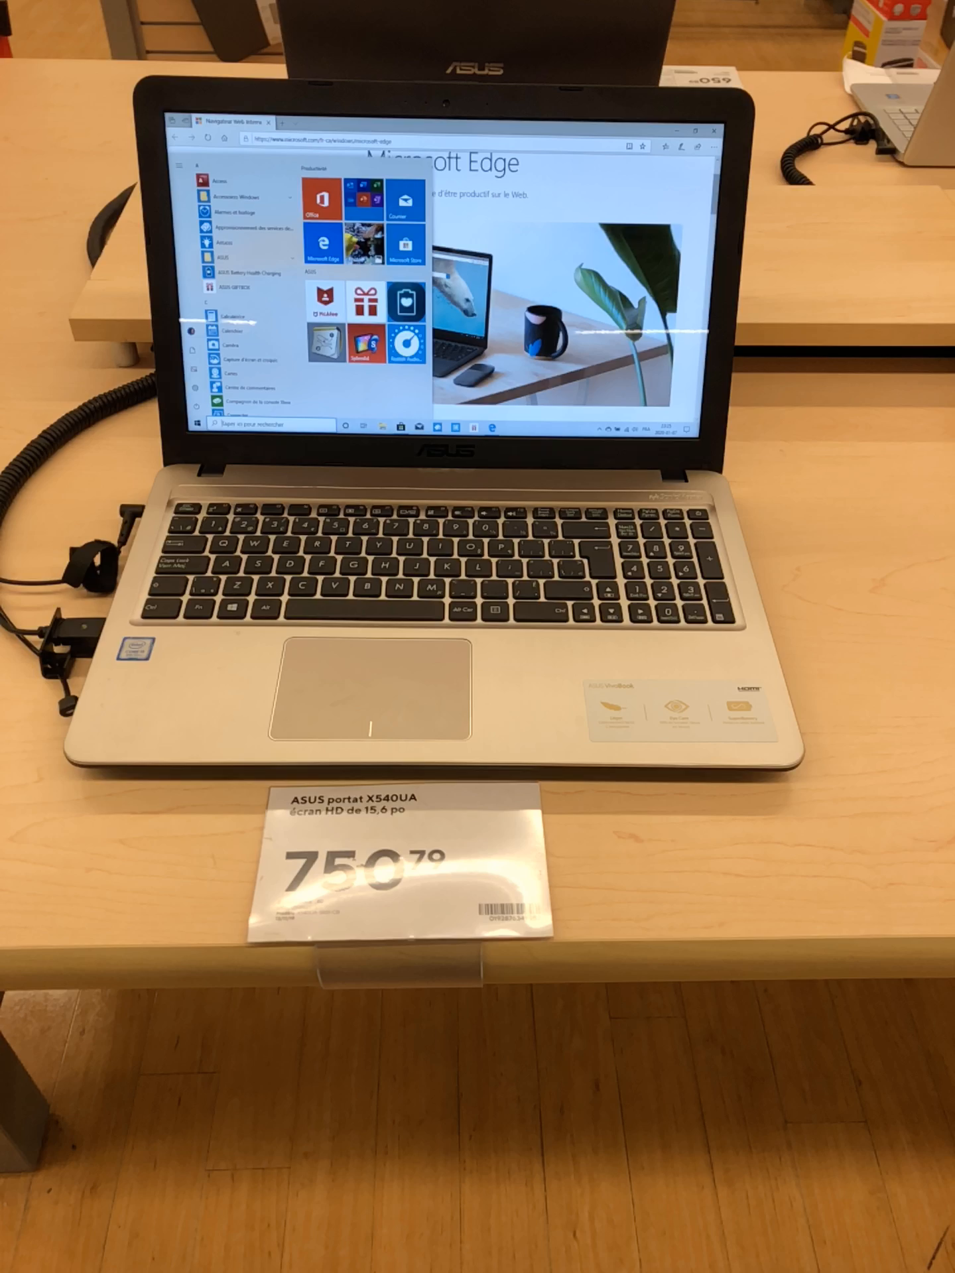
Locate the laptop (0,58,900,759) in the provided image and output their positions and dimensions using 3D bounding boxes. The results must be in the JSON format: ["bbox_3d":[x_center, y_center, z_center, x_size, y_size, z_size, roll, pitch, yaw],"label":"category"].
[{"bbox_3d":[-0.027,-0.145,0.611,0.383,0.215,0.361,0,47,-2],"label":"laptop"}]
